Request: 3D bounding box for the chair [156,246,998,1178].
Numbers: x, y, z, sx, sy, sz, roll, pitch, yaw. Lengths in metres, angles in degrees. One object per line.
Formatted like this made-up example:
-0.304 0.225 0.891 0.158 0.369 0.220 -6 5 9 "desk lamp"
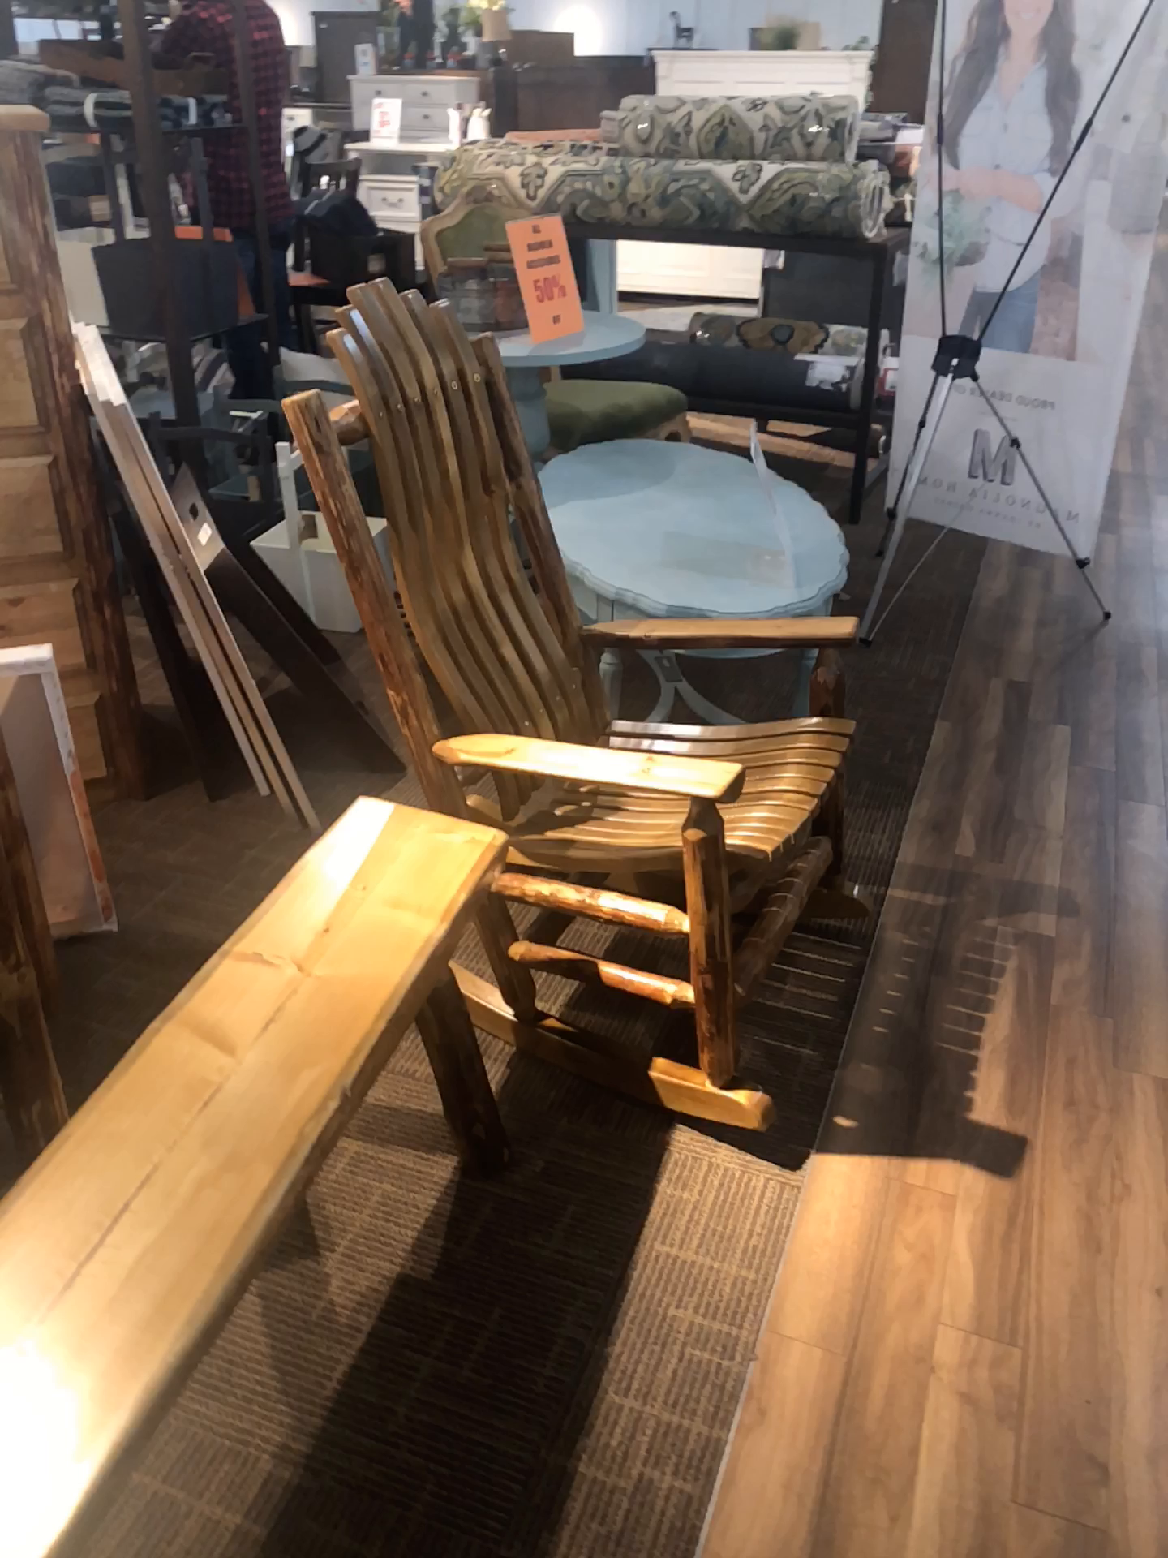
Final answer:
0.025 -0.174 1.922 0.884 1.049 0.720 13 31 21 "chair"
